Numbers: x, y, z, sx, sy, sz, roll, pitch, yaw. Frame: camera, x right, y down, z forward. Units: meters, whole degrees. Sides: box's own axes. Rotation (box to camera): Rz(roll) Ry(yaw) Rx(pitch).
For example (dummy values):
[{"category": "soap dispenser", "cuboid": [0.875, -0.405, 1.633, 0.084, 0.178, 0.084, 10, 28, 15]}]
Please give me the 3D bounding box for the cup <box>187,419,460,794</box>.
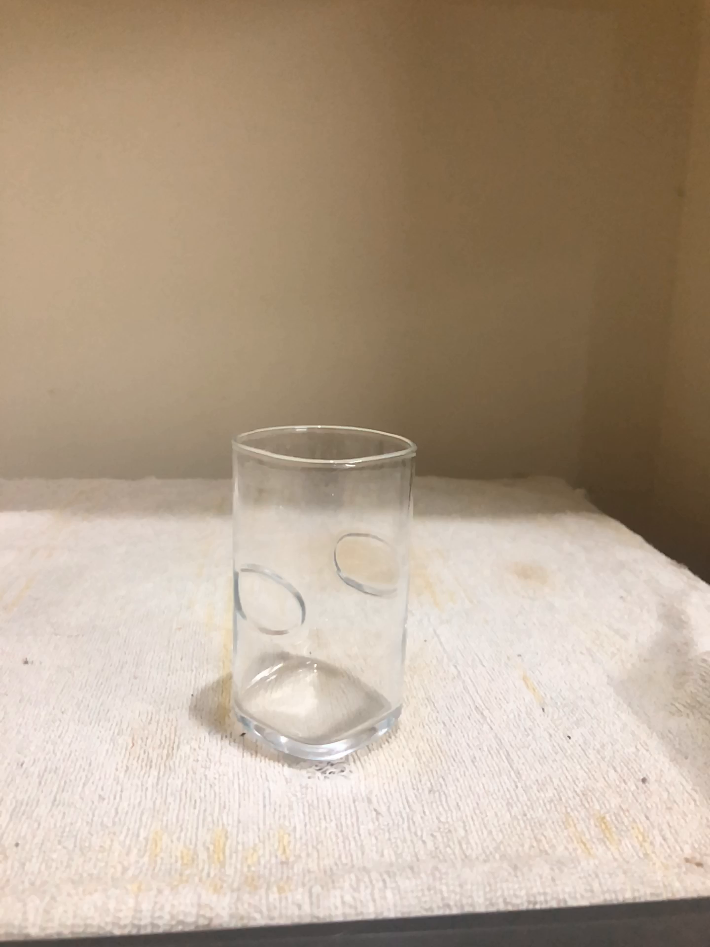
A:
[{"category": "cup", "cuboid": [-0.012, 0.041, 0.297, 0.070, 0.110, 0.070, 1, 12, 0]}]
